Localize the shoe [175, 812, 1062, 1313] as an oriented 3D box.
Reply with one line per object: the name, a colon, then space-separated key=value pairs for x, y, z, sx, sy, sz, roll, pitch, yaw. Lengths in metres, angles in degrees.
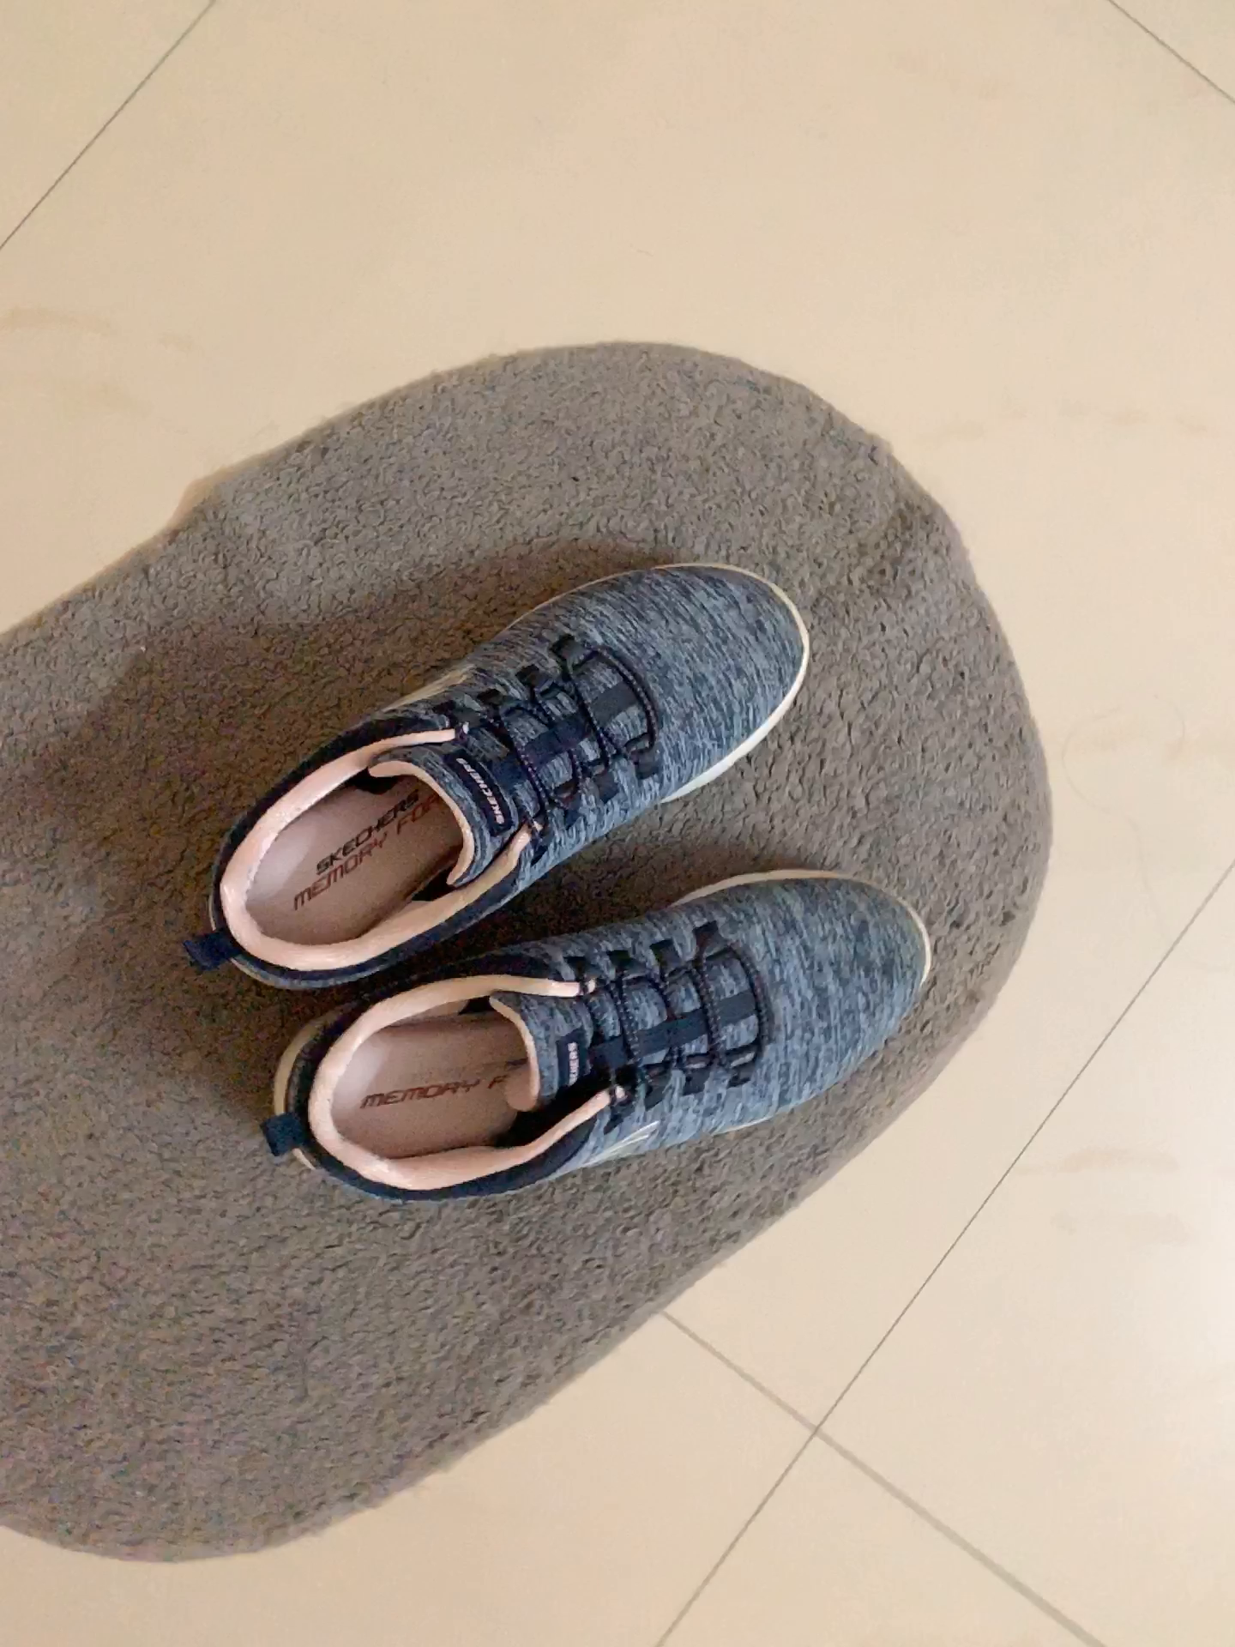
shoe: x=0.000 y=0.077 z=0.455 sx=0.270 sy=0.100 sz=0.090 roll=-15 pitch=88 yaw=-4

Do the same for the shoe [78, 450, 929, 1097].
shoe: x=-0.041 y=-0.021 z=0.501 sx=0.290 sy=0.100 sz=0.100 roll=-30 pitch=93 yaw=-4
